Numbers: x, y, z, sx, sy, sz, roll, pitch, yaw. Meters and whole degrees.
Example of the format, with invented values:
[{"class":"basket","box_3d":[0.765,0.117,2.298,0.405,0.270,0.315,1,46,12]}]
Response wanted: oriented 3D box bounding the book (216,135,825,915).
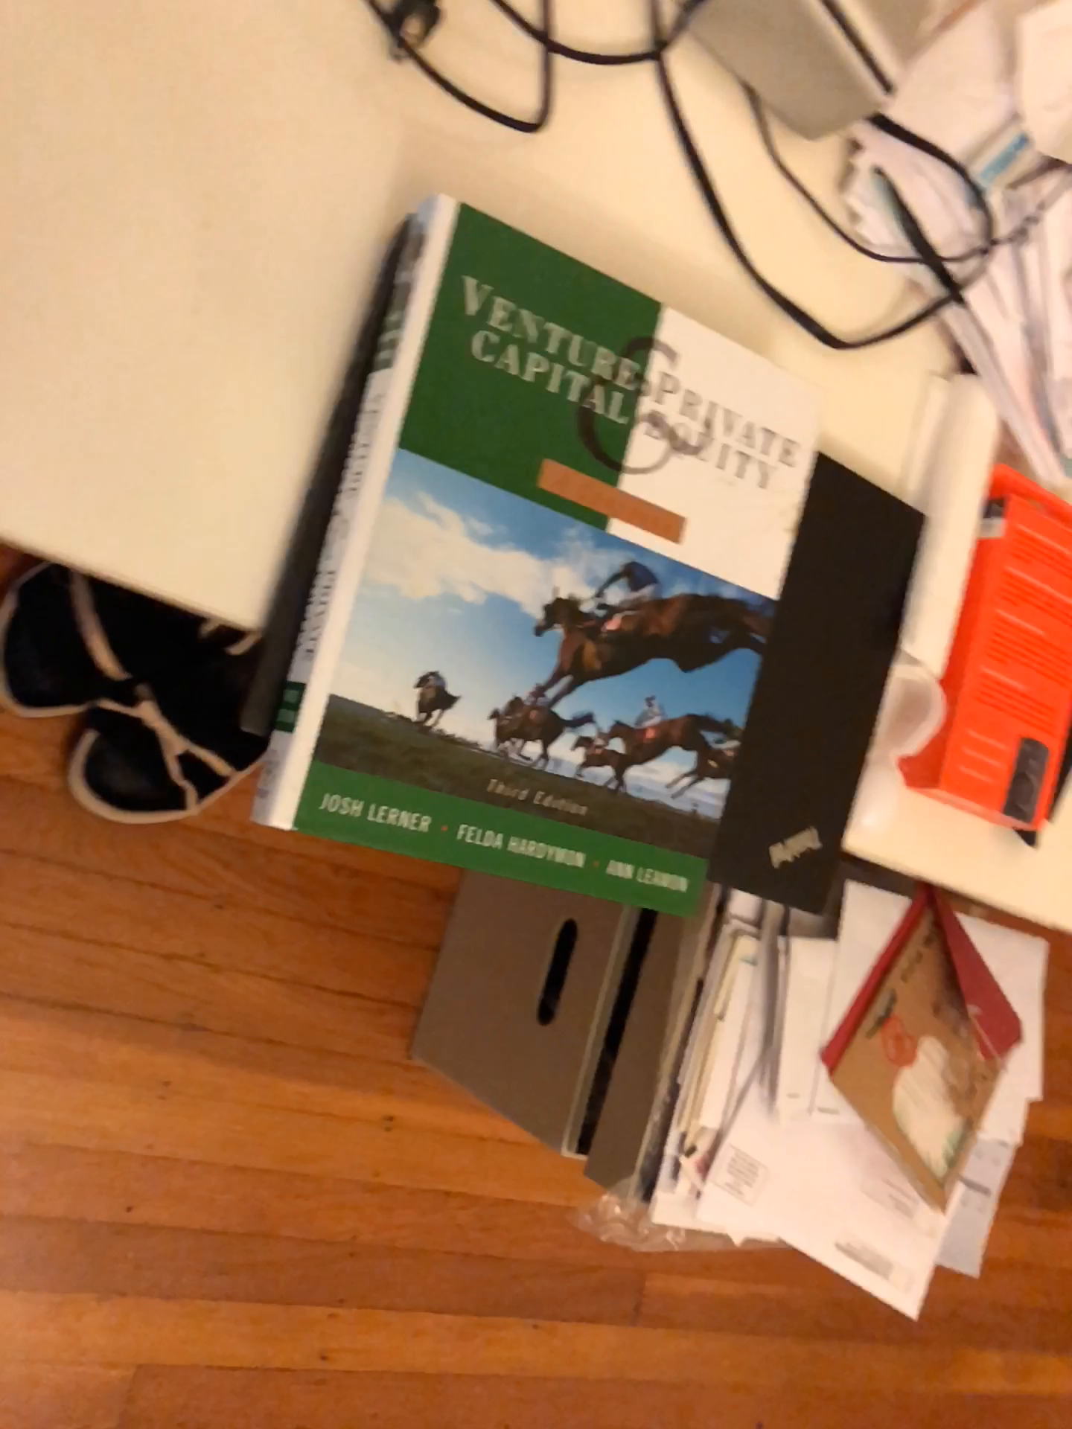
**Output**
[{"class":"book","box_3d":[0.008,-0.068,0.518,0.221,0.030,0.270,18,83,-30]}]
